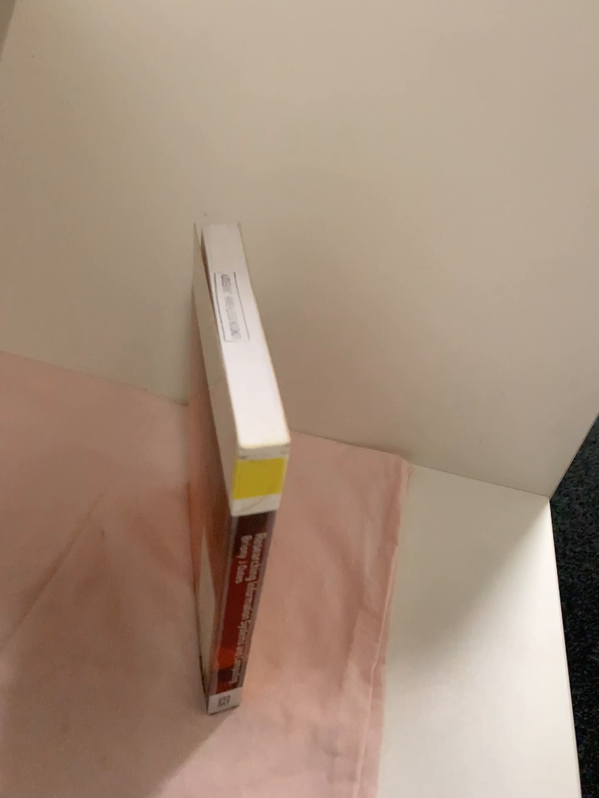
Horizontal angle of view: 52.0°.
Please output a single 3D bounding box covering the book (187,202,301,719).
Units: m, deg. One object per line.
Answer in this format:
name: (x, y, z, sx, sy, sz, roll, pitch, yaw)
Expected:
book: (-0.048, 0.038, 0.373, 0.026, 0.238, 0.203, -2, 42, -14)
